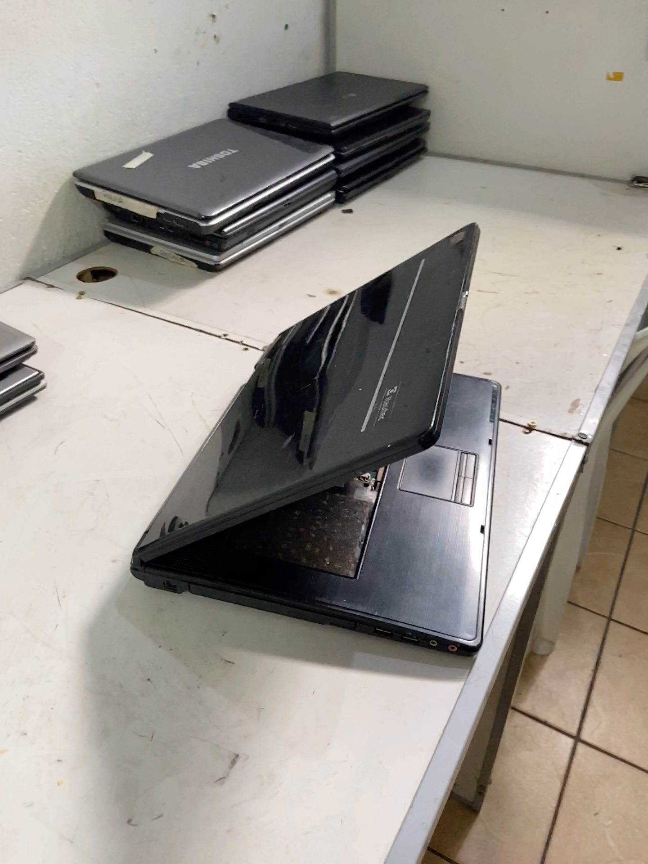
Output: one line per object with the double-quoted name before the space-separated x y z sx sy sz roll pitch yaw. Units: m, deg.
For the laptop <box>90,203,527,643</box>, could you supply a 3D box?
"laptop" 0.025 -0.044 0.572 0.260 0.164 0.350 10 38 10
